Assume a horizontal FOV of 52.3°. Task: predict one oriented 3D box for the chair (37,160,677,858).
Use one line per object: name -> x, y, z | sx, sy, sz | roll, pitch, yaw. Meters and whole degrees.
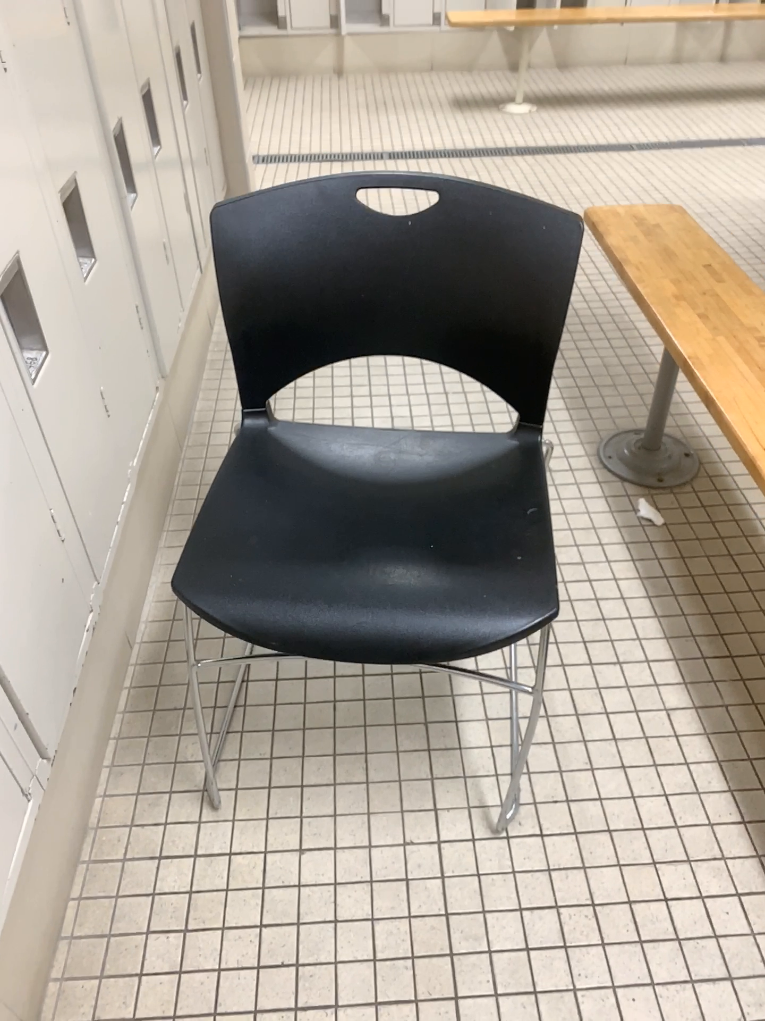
chair -> 0.010, -0.028, 1.009 | 0.475, 0.631, 0.615 | 3, 40, 5
